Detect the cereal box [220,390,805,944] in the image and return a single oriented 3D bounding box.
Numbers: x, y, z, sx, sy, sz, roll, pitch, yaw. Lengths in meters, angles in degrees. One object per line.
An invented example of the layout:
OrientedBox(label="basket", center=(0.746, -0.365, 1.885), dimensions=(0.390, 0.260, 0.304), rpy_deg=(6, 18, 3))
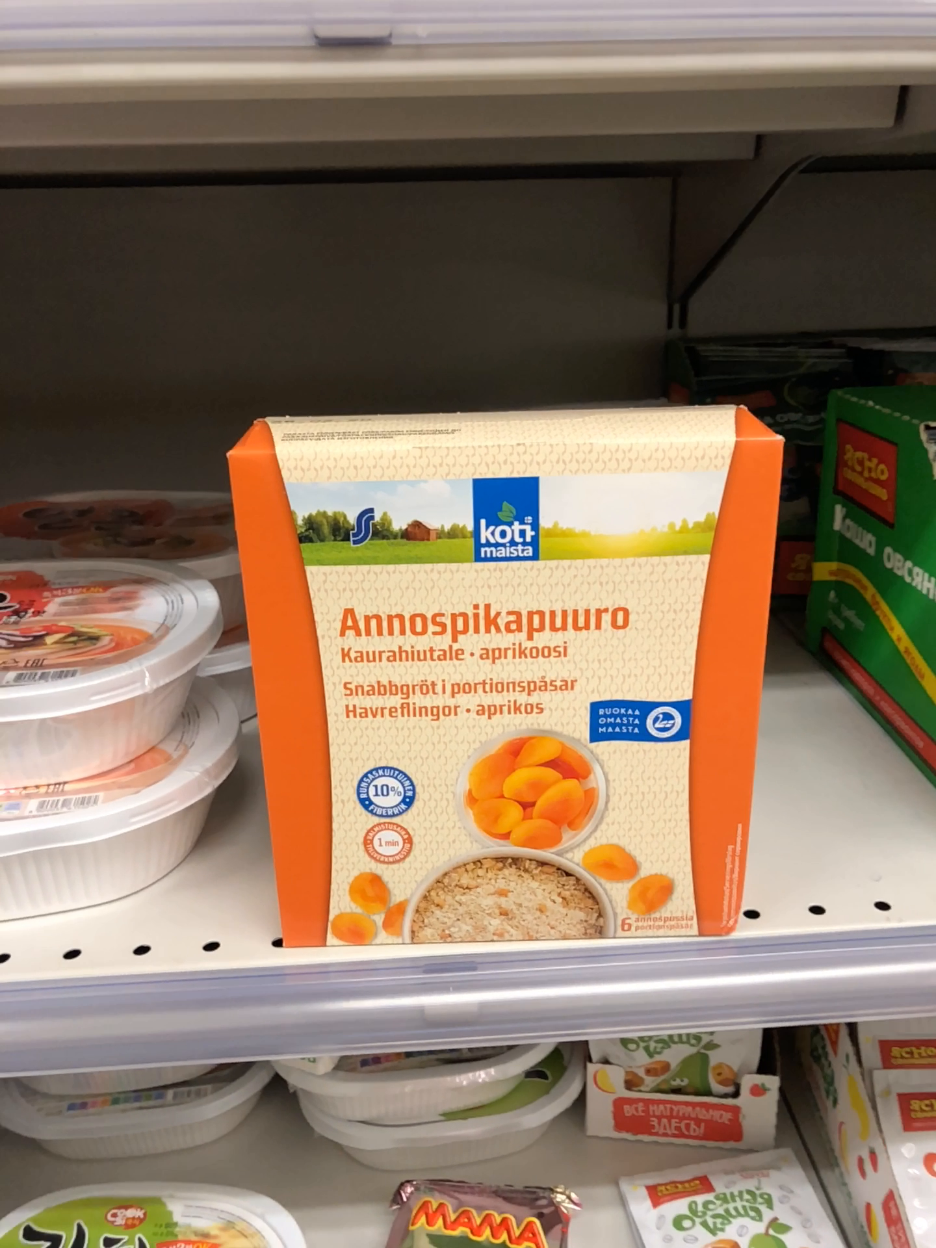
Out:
OrientedBox(label="cereal box", center=(0.015, 0.016, 0.360), dimensions=(0.170, 0.179, 0.060), rpy_deg=(-1, 21, 1))
